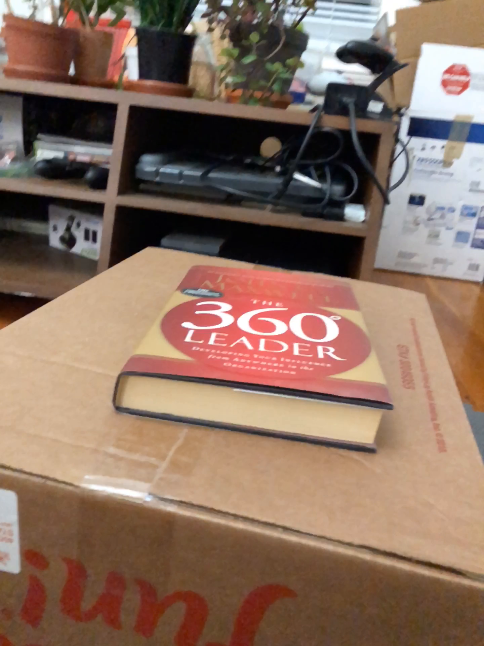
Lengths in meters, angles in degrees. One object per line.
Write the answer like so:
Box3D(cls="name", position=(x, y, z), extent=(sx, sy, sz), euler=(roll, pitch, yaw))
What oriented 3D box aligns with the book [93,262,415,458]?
Box3D(cls="book", position=(0.016, 0.008, 0.412), extent=(0.180, 0.030, 0.241), euler=(8, 21, 4))
